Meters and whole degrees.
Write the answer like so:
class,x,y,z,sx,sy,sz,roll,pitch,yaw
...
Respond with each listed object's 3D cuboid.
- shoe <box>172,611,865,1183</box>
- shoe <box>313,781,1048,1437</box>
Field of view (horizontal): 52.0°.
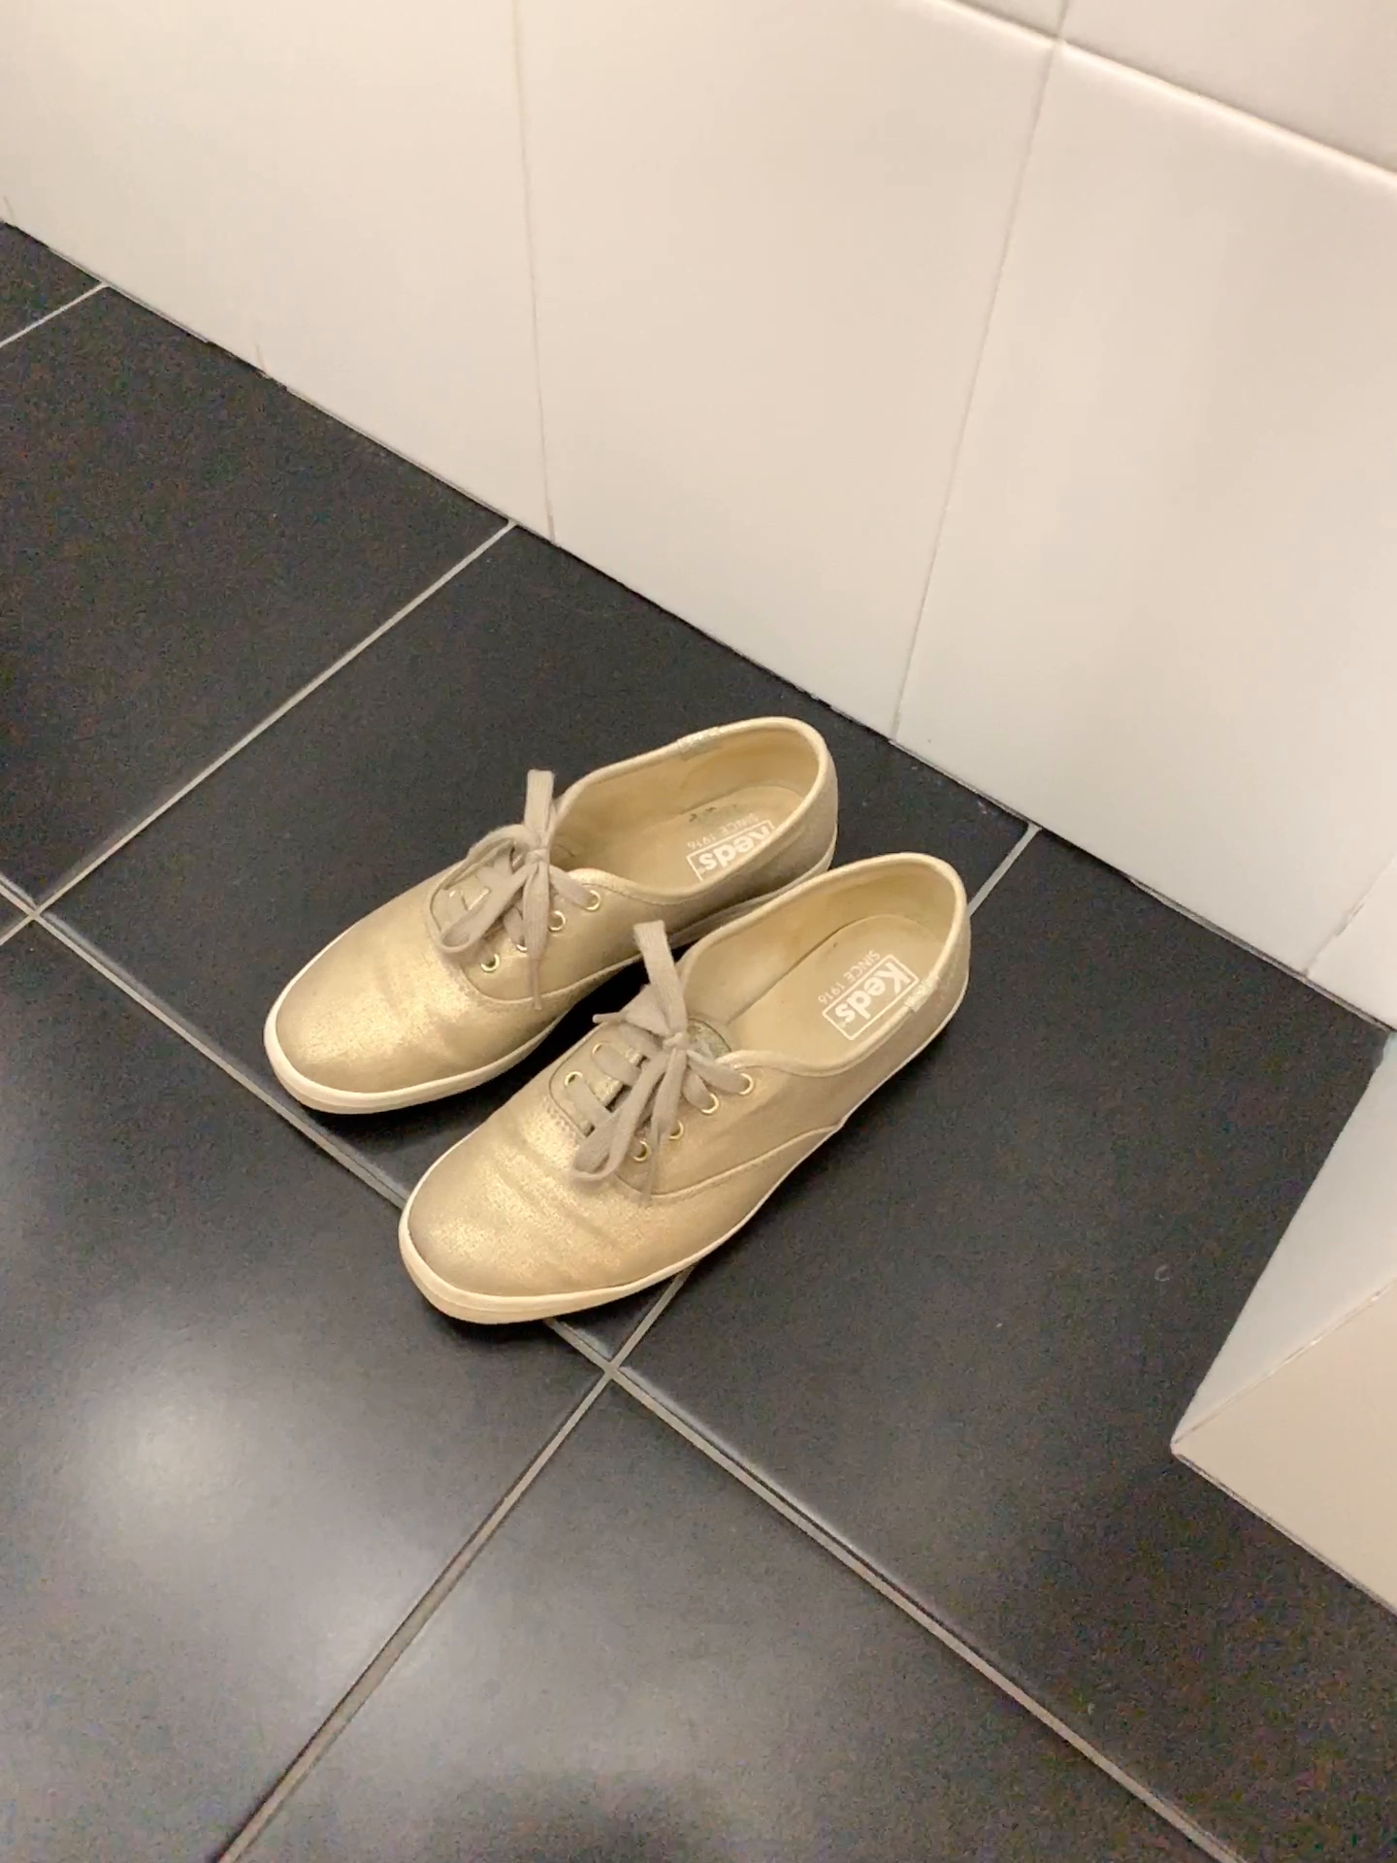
class,x,y,z,sx,sy,sz,roll,pitch,yaw
shoe,-0.062,-0.016,0.549,0.230,0.100,0.090,-28,63,-19
shoe,-0.002,0.059,0.506,0.230,0.100,0.090,-31,64,-21
